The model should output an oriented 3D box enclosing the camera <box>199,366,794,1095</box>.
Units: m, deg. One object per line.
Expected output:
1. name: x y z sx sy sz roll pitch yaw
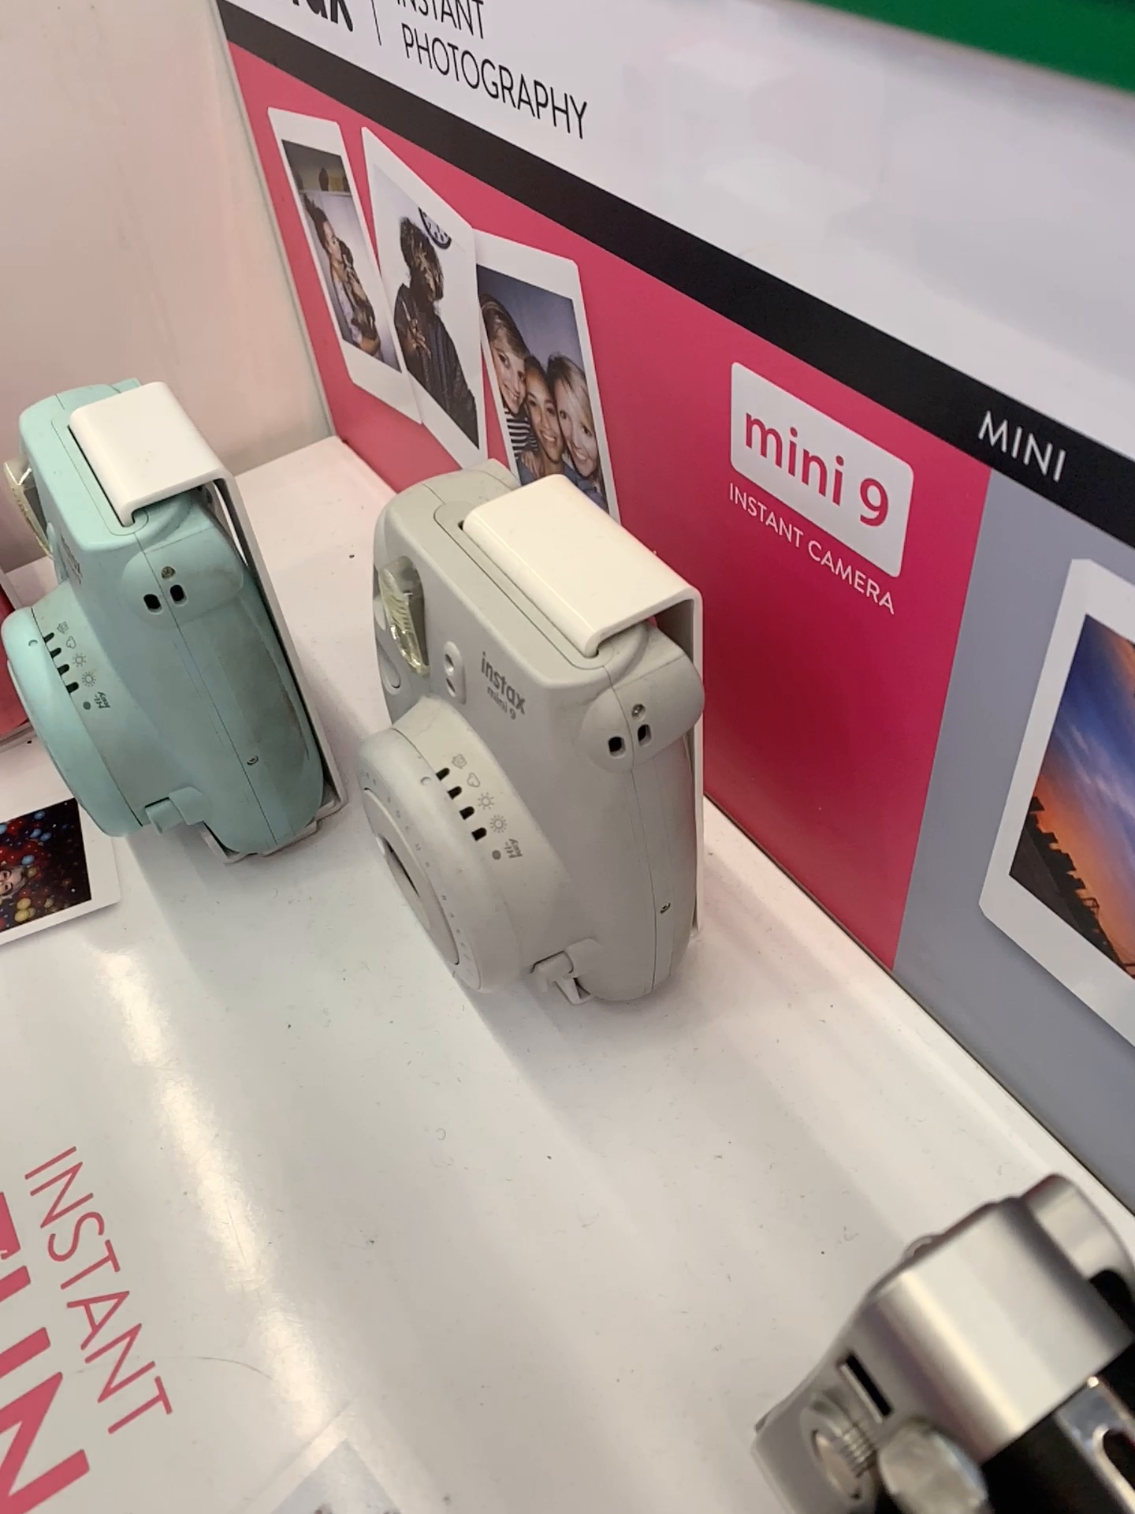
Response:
1. camera: -0.015 -0.008 0.280 0.080 0.109 0.111 -27 50 -17
